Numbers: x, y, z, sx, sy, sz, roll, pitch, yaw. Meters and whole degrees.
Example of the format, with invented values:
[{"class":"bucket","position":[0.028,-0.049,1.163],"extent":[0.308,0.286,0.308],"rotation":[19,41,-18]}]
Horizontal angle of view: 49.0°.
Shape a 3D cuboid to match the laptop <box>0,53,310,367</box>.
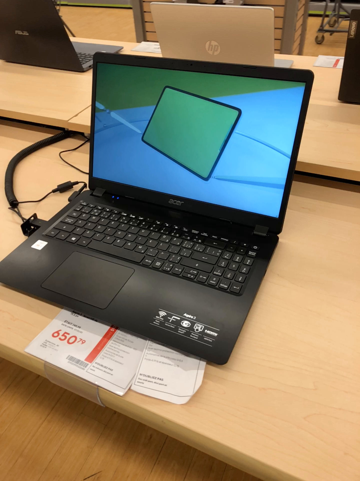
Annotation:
[{"class":"laptop","position":[-0.049,-0.085,0.543],"extent":[0.355,0.210,0.328],"rotation":[16,44,21]}]
